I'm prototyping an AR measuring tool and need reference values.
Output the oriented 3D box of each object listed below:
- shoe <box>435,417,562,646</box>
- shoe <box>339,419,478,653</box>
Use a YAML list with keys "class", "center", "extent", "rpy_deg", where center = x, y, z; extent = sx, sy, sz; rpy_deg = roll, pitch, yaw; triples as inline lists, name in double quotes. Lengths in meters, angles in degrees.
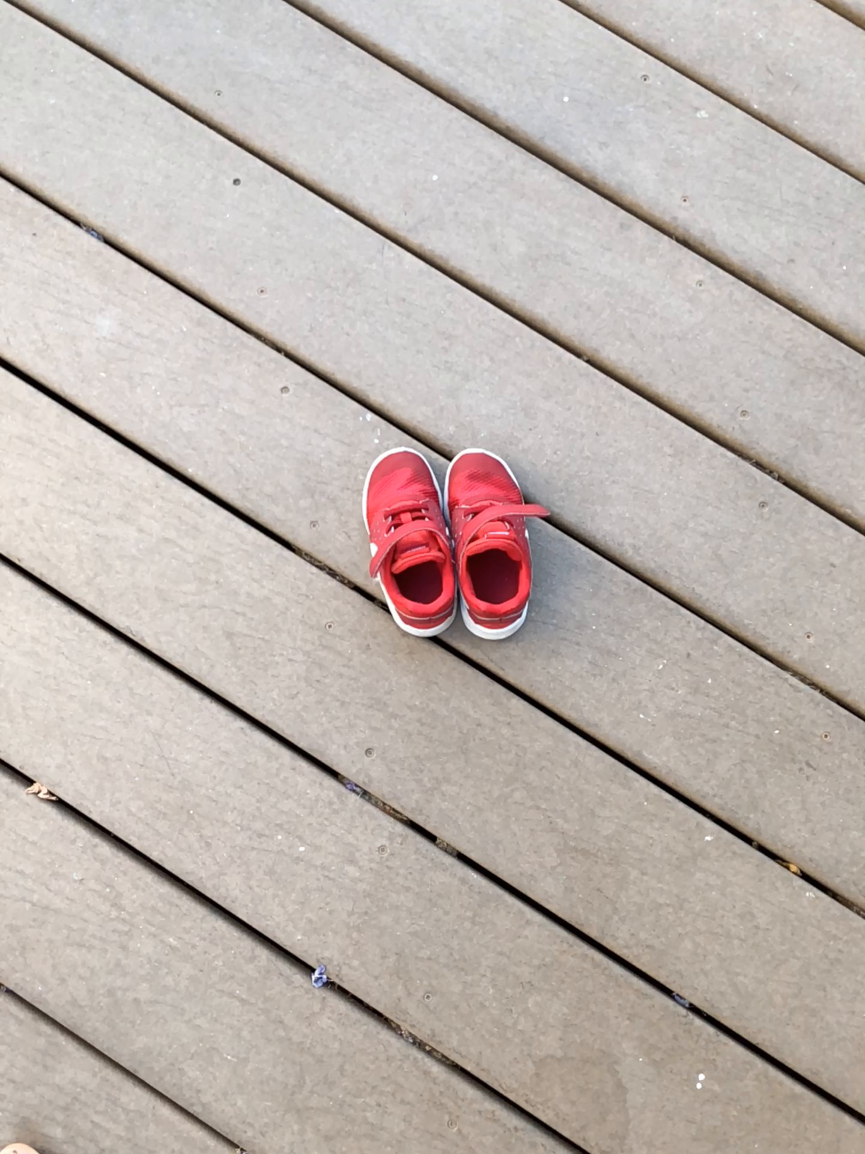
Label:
- class: "shoe"
  center: [0.050, -0.033, 0.771]
  extent: [0.077, 0.087, 0.167]
  rpy_deg: [-5, 82, -3]
- class: "shoe"
  center: [-0.021, -0.030, 0.776]
  extent: [0.077, 0.087, 0.167]
  rpy_deg: [-11, 83, -4]
